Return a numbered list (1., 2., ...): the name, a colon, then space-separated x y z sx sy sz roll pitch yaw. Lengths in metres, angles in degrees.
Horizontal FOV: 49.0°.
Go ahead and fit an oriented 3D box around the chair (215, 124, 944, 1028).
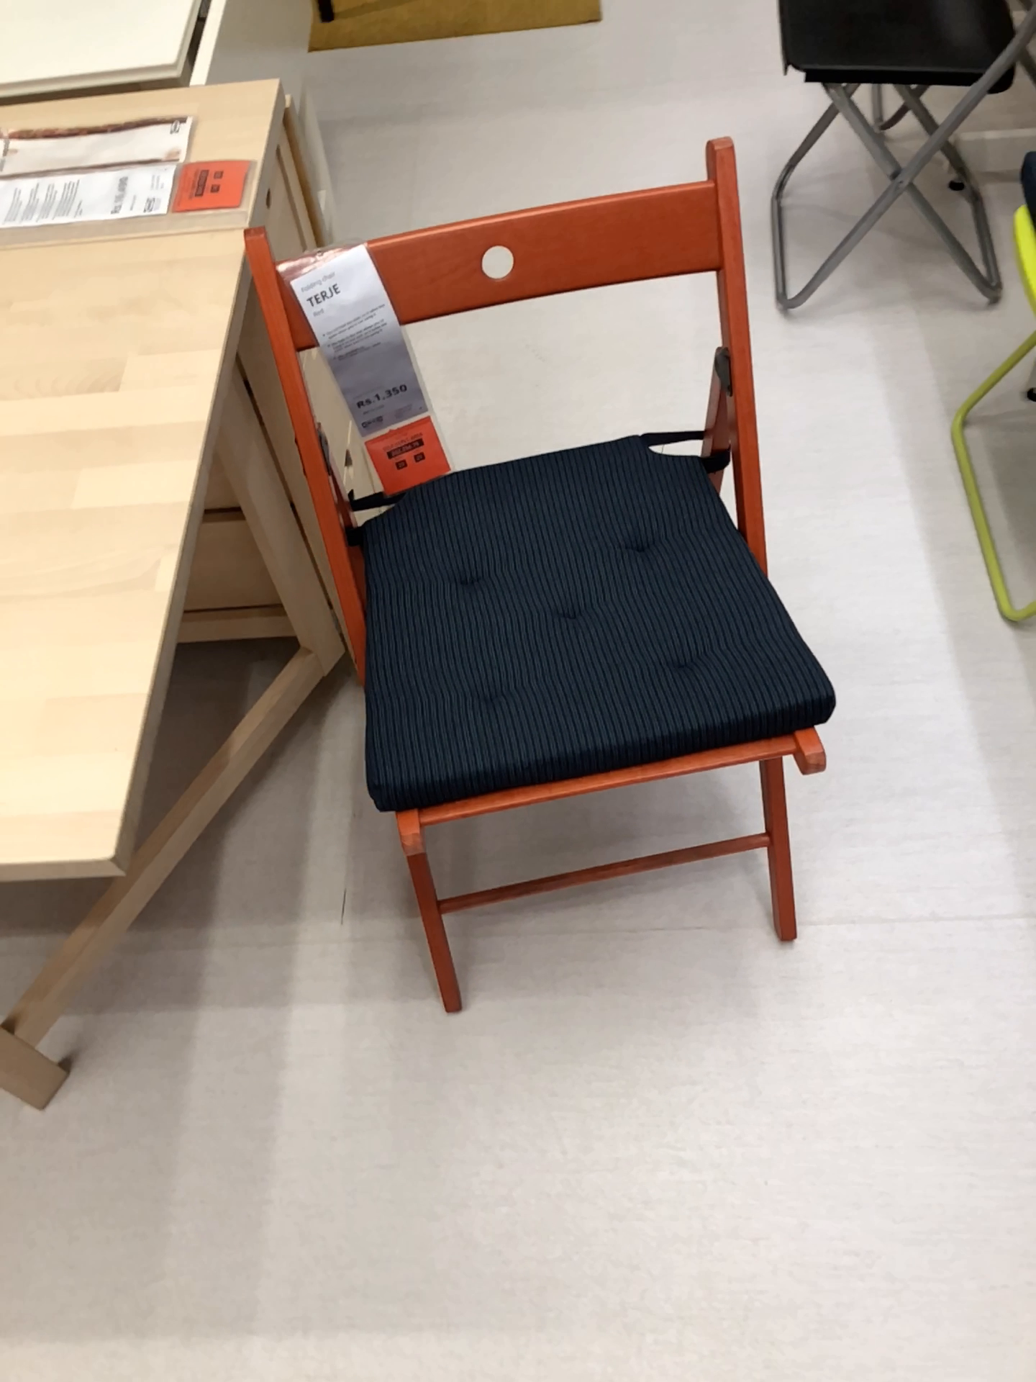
1. chair: 0.035 -0.059 1.162 0.470 0.716 0.503 -11 55 -1
